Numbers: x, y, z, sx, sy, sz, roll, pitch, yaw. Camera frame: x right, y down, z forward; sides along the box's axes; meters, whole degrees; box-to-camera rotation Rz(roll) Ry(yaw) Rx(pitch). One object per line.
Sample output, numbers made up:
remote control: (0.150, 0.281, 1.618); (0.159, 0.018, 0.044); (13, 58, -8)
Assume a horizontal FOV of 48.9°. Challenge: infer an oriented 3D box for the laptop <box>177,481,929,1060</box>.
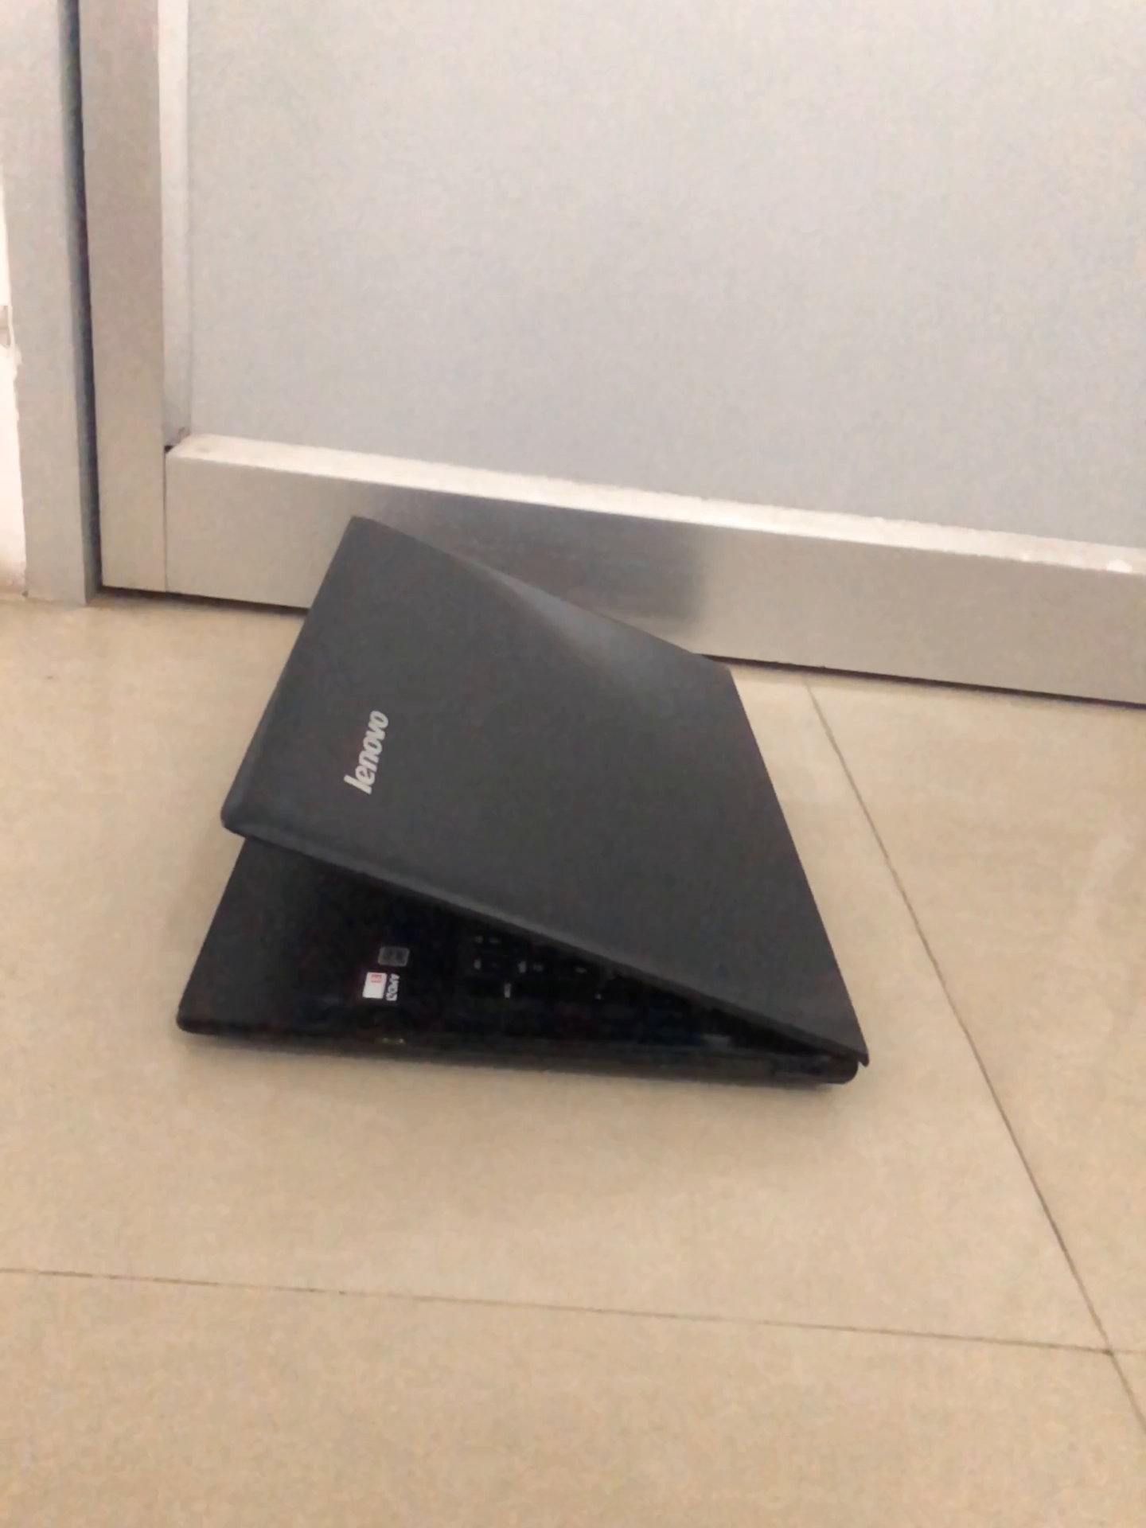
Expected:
laptop: (-0.014, -0.026, 0.612); (0.257, 0.097, 0.369); (6, 27, -6)
